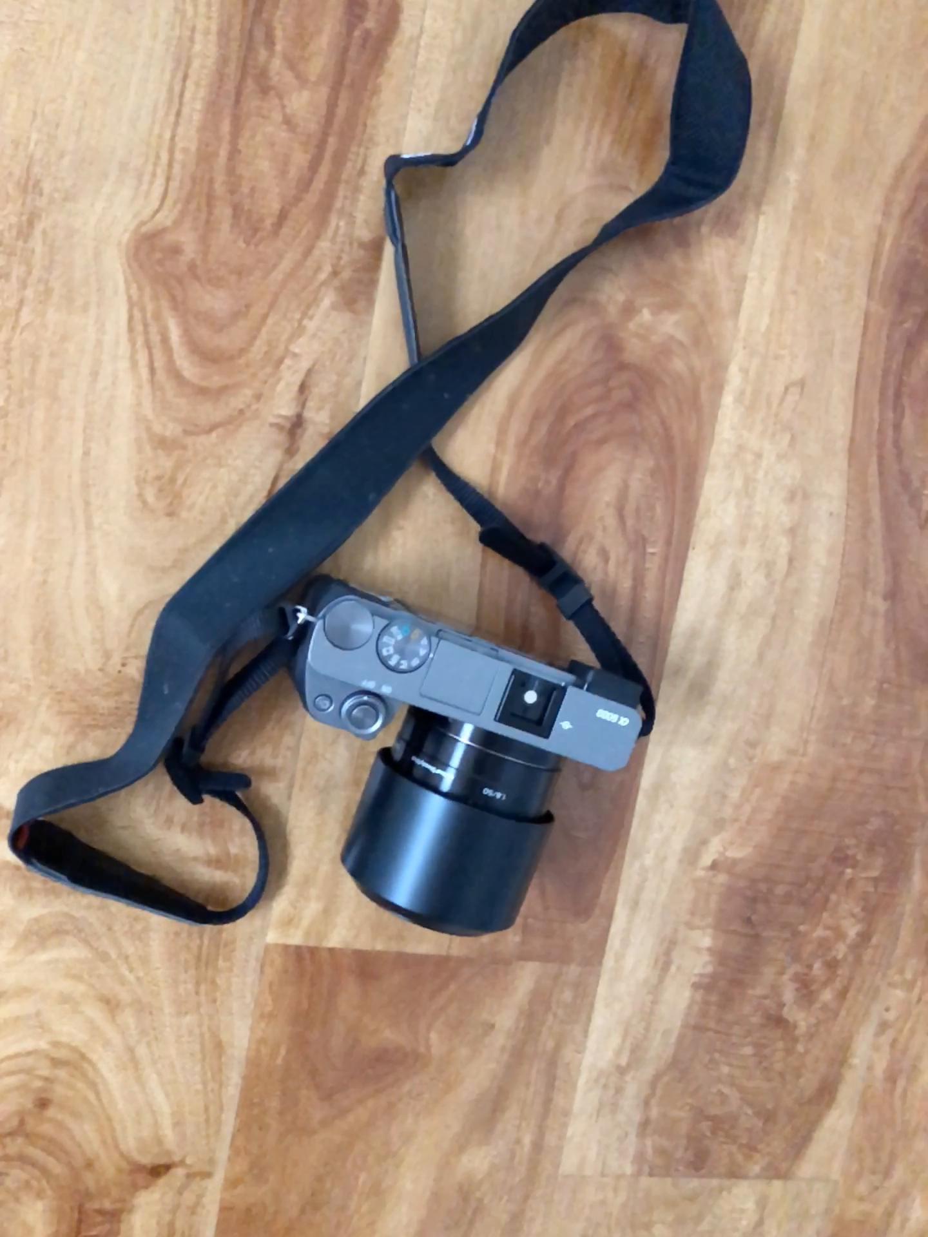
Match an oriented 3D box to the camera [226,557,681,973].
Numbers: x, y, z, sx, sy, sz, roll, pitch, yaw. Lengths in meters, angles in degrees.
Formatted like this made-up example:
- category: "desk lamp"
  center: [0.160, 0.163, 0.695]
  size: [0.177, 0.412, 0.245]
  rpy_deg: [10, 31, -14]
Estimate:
- category: "camera"
  center: [-0.008, 0.052, 0.386]
  size: [0.130, 0.070, 0.110]
  rpy_deg: [18, 92, -15]
